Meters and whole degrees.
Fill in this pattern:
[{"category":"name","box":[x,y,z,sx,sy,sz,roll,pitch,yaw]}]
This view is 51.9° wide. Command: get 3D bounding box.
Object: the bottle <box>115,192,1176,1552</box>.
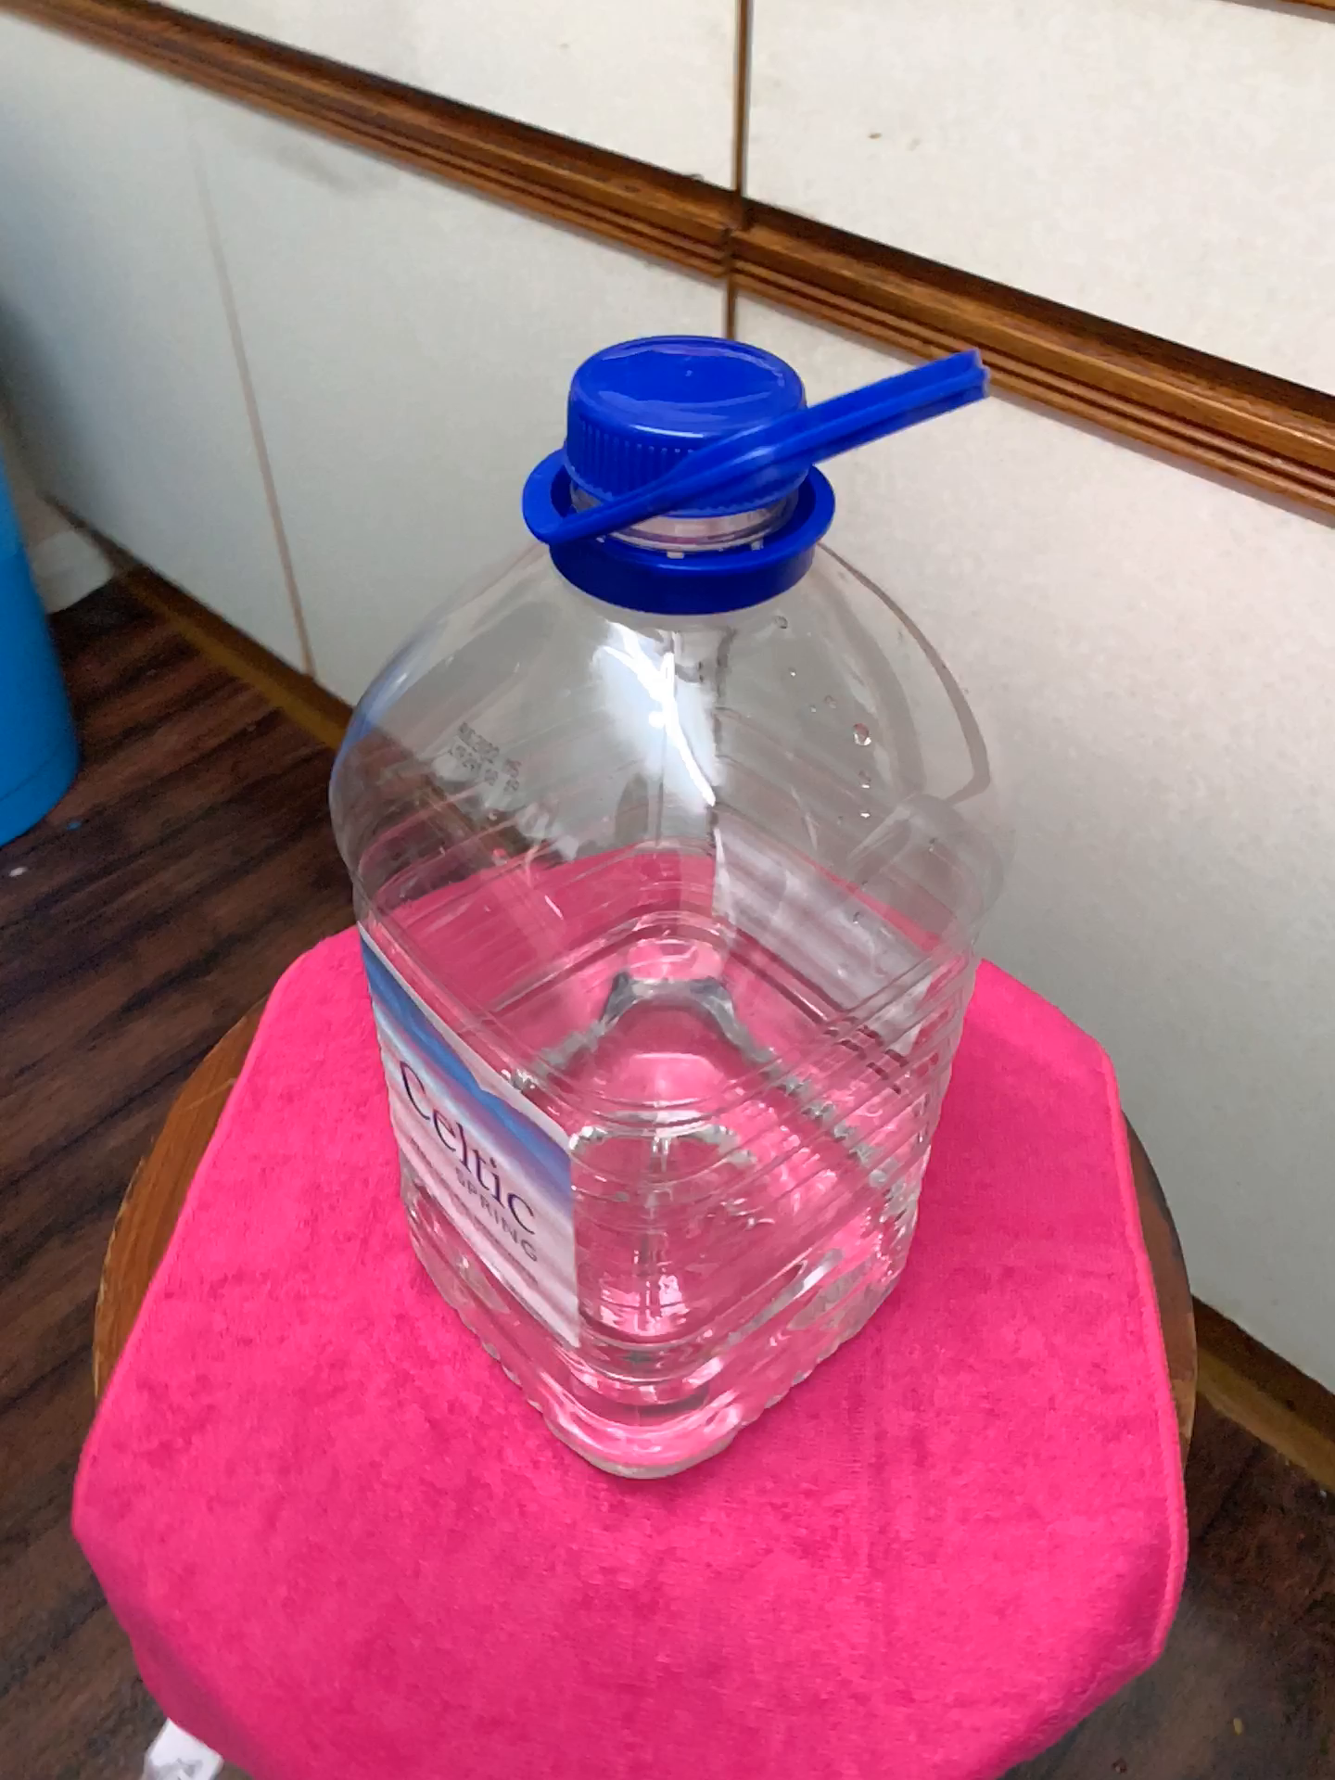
[{"category":"bottle","box":[-0.007,0.017,0.381,0.141,0.327,0.151,0,46,0]}]
